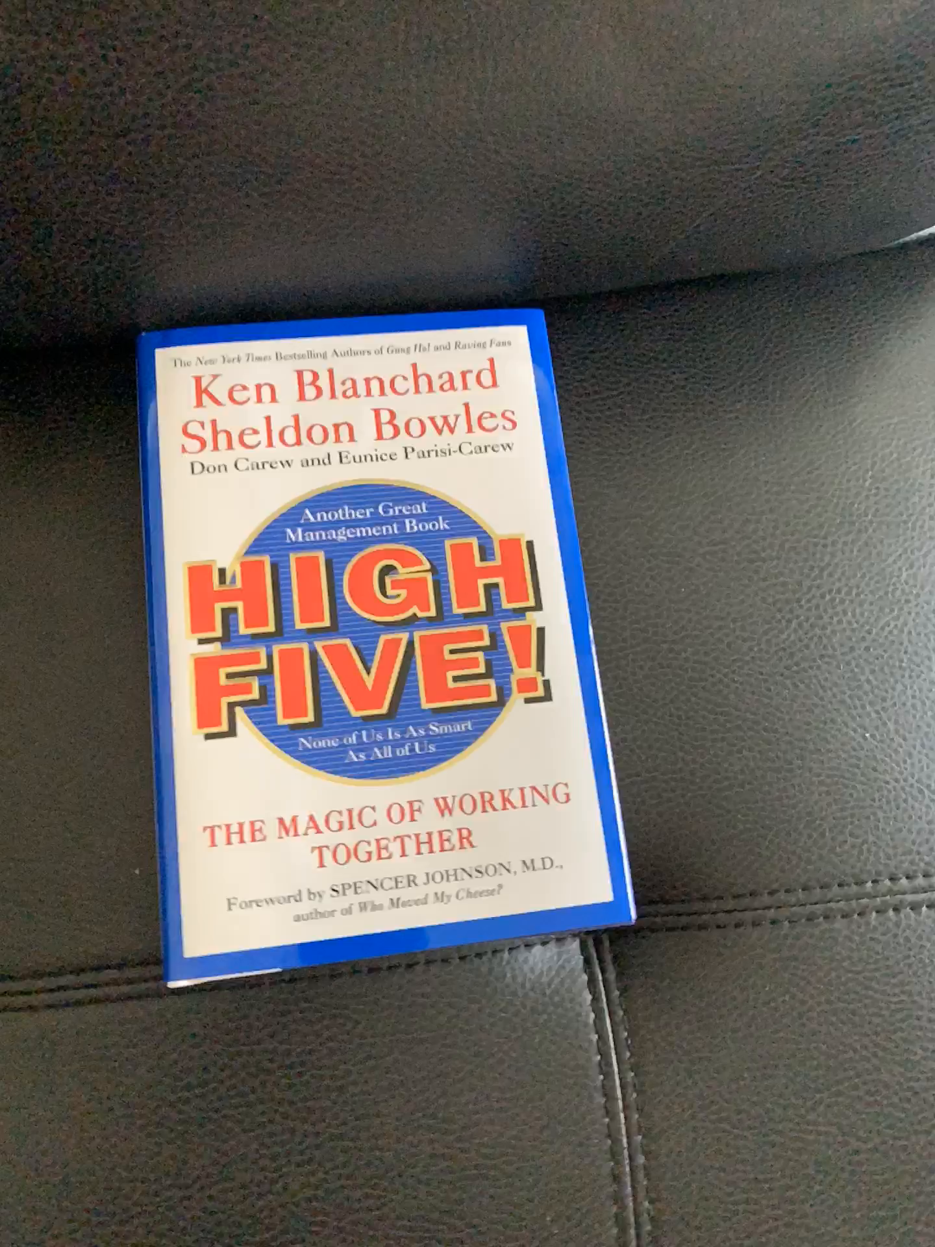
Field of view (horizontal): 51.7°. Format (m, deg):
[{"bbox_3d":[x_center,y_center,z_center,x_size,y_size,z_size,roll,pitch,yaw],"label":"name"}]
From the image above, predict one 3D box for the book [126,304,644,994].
[{"bbox_3d":[-0.033,-0.001,0.333,0.150,0.023,0.220,-6,77,-7],"label":"book"}]
